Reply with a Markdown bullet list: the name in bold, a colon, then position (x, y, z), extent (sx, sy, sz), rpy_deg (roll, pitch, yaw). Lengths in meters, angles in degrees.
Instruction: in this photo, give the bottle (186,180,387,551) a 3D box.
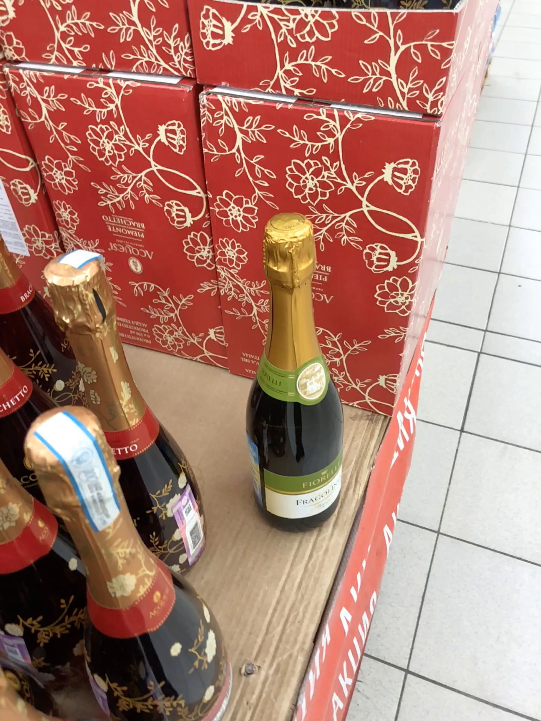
- **bottle**: position (0.015, 0.021, 0.474), extent (0.090, 0.288, 0.090), rpy_deg (-2, 44, 2)
